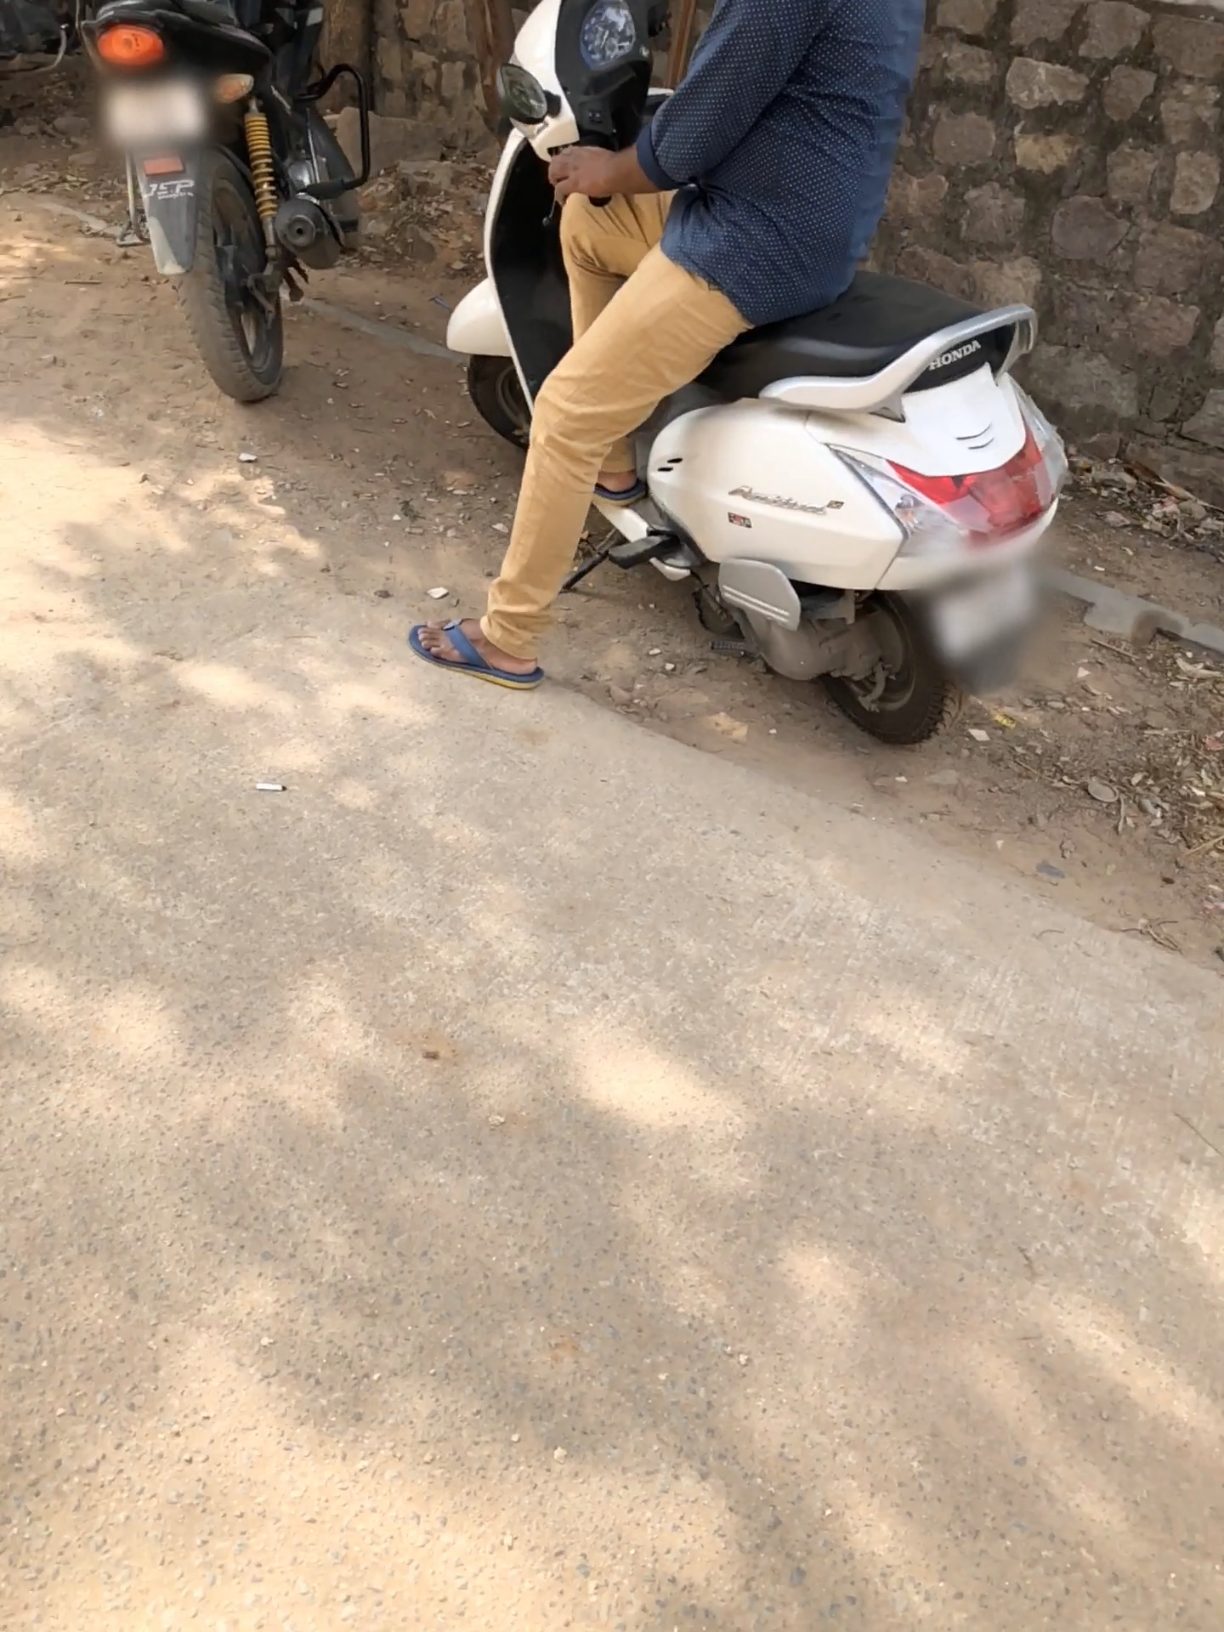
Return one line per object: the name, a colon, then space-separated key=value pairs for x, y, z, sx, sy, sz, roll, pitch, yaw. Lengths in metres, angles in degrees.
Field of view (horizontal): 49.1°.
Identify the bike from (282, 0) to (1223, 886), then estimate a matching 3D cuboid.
bike: x=0.058 y=-0.899 z=2.456 sx=0.624 sy=1.199 sz=1.591 roll=-18 pitch=44 yaw=-33
